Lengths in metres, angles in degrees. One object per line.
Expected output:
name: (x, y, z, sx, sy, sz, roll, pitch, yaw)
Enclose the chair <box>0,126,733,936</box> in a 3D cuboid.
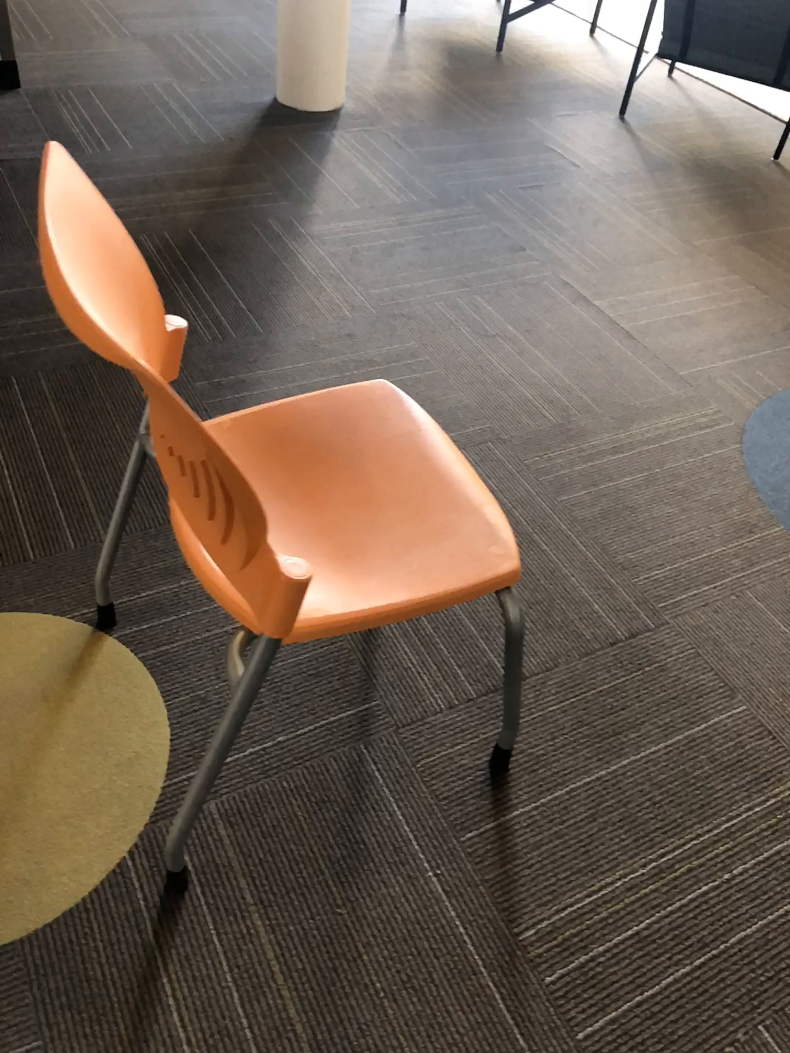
chair: (-0.125, -0.025, 1.178, 0.611, 0.747, 0.642, -13, 47, -22)
